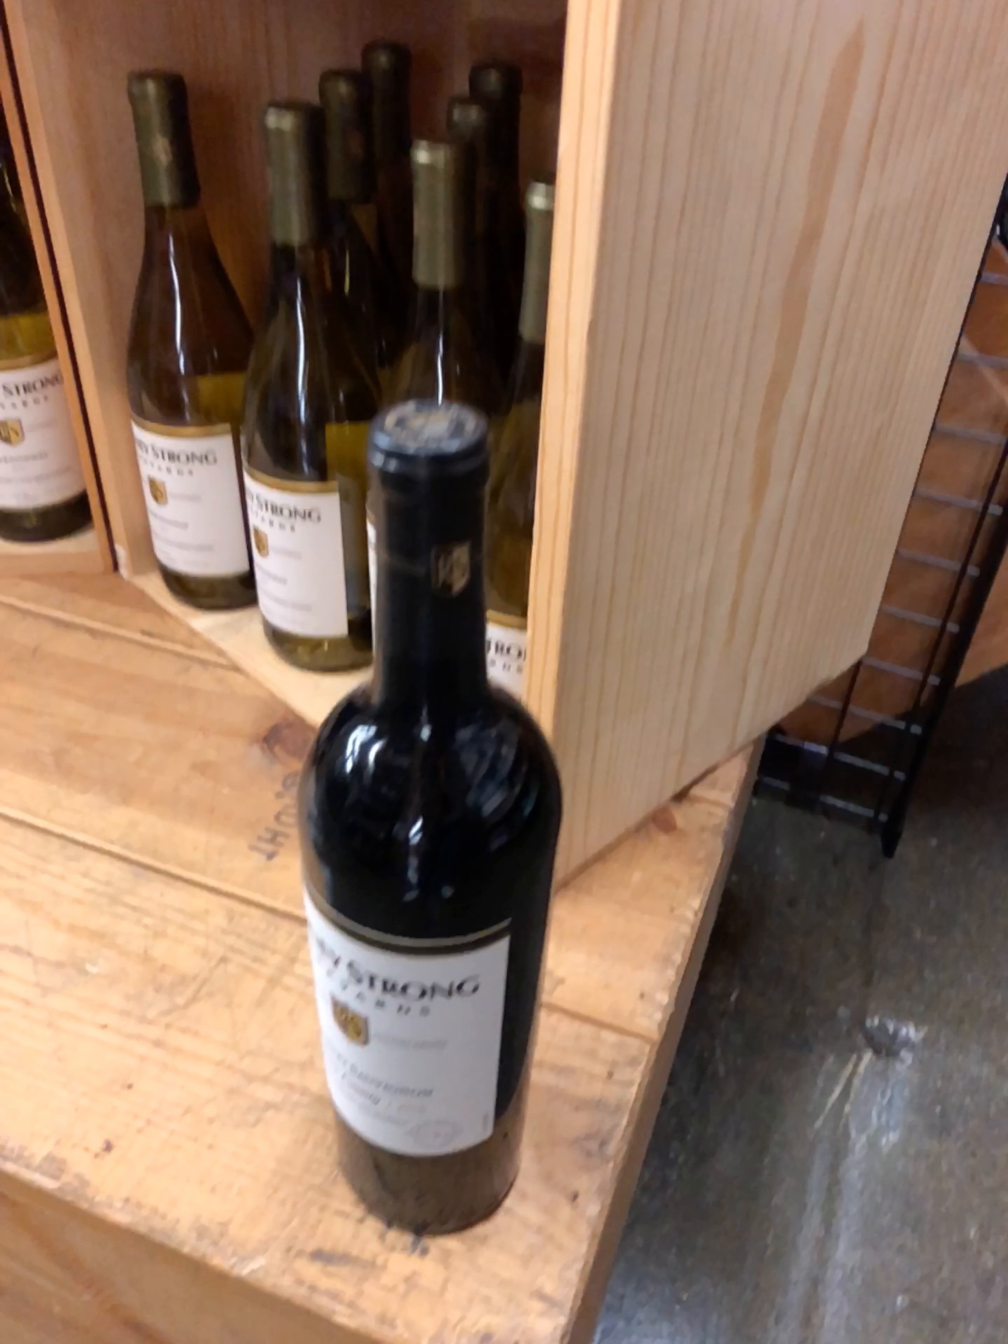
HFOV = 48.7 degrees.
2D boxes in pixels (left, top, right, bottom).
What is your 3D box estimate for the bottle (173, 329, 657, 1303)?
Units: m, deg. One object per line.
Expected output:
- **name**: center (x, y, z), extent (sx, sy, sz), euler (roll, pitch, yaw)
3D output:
- **bottle**: center (-0.026, 0.067, 0.338), extent (0.080, 0.309, 0.070), euler (32, 46, 32)
